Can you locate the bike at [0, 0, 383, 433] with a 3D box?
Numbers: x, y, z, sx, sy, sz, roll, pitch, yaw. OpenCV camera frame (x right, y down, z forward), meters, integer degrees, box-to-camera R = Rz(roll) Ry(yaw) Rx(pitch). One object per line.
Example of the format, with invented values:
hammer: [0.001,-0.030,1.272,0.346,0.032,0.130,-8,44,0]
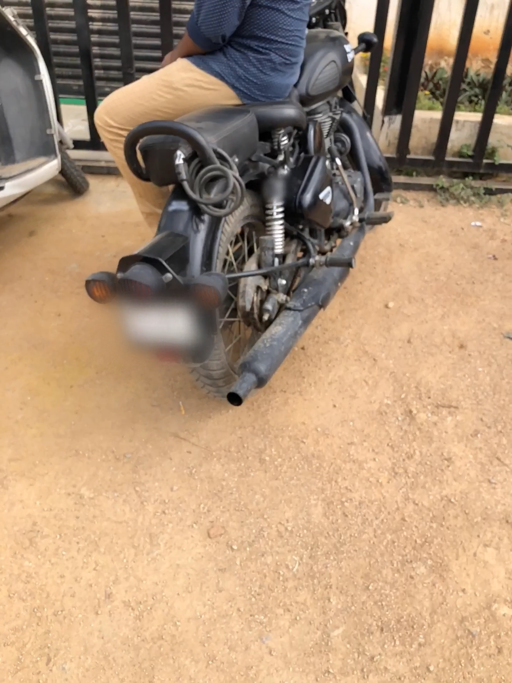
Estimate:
bike: [-0.036,-0.924,2.006,0.722,1.169,1.818,9,41,9]
